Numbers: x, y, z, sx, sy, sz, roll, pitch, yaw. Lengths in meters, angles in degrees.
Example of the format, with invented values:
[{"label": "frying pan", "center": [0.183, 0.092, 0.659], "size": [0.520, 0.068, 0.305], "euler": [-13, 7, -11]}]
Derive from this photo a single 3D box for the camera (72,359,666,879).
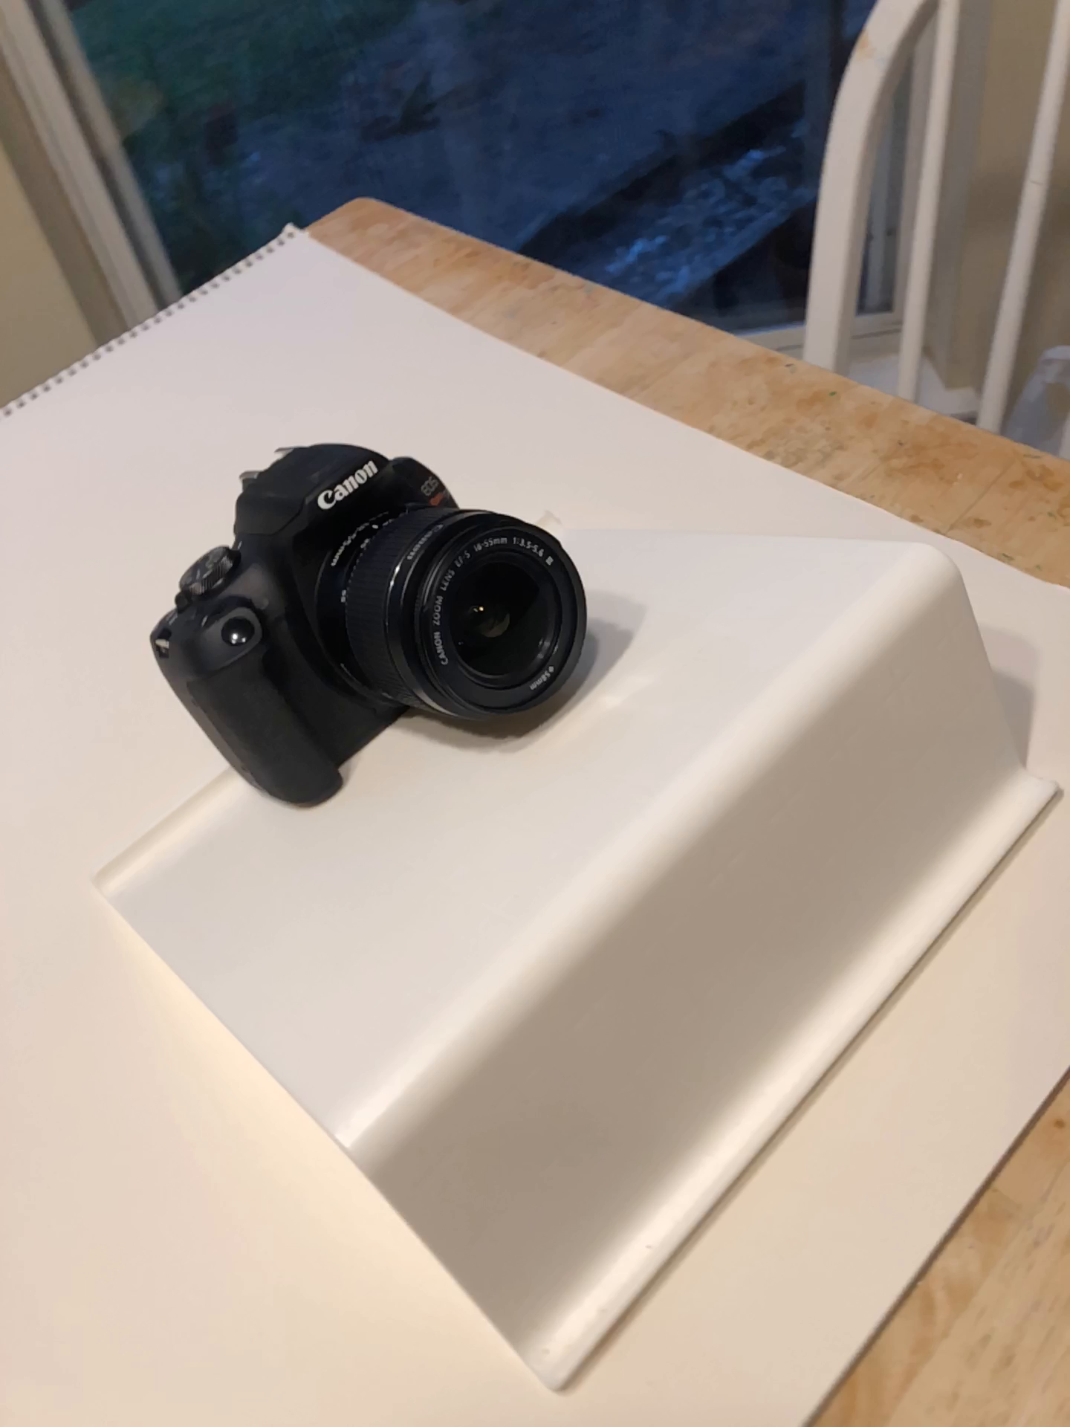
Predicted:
[{"label": "camera", "center": [-0.061, -0.038, 0.415], "size": [0.125, 0.104, 0.140], "euler": [-40, 27, -22]}]
